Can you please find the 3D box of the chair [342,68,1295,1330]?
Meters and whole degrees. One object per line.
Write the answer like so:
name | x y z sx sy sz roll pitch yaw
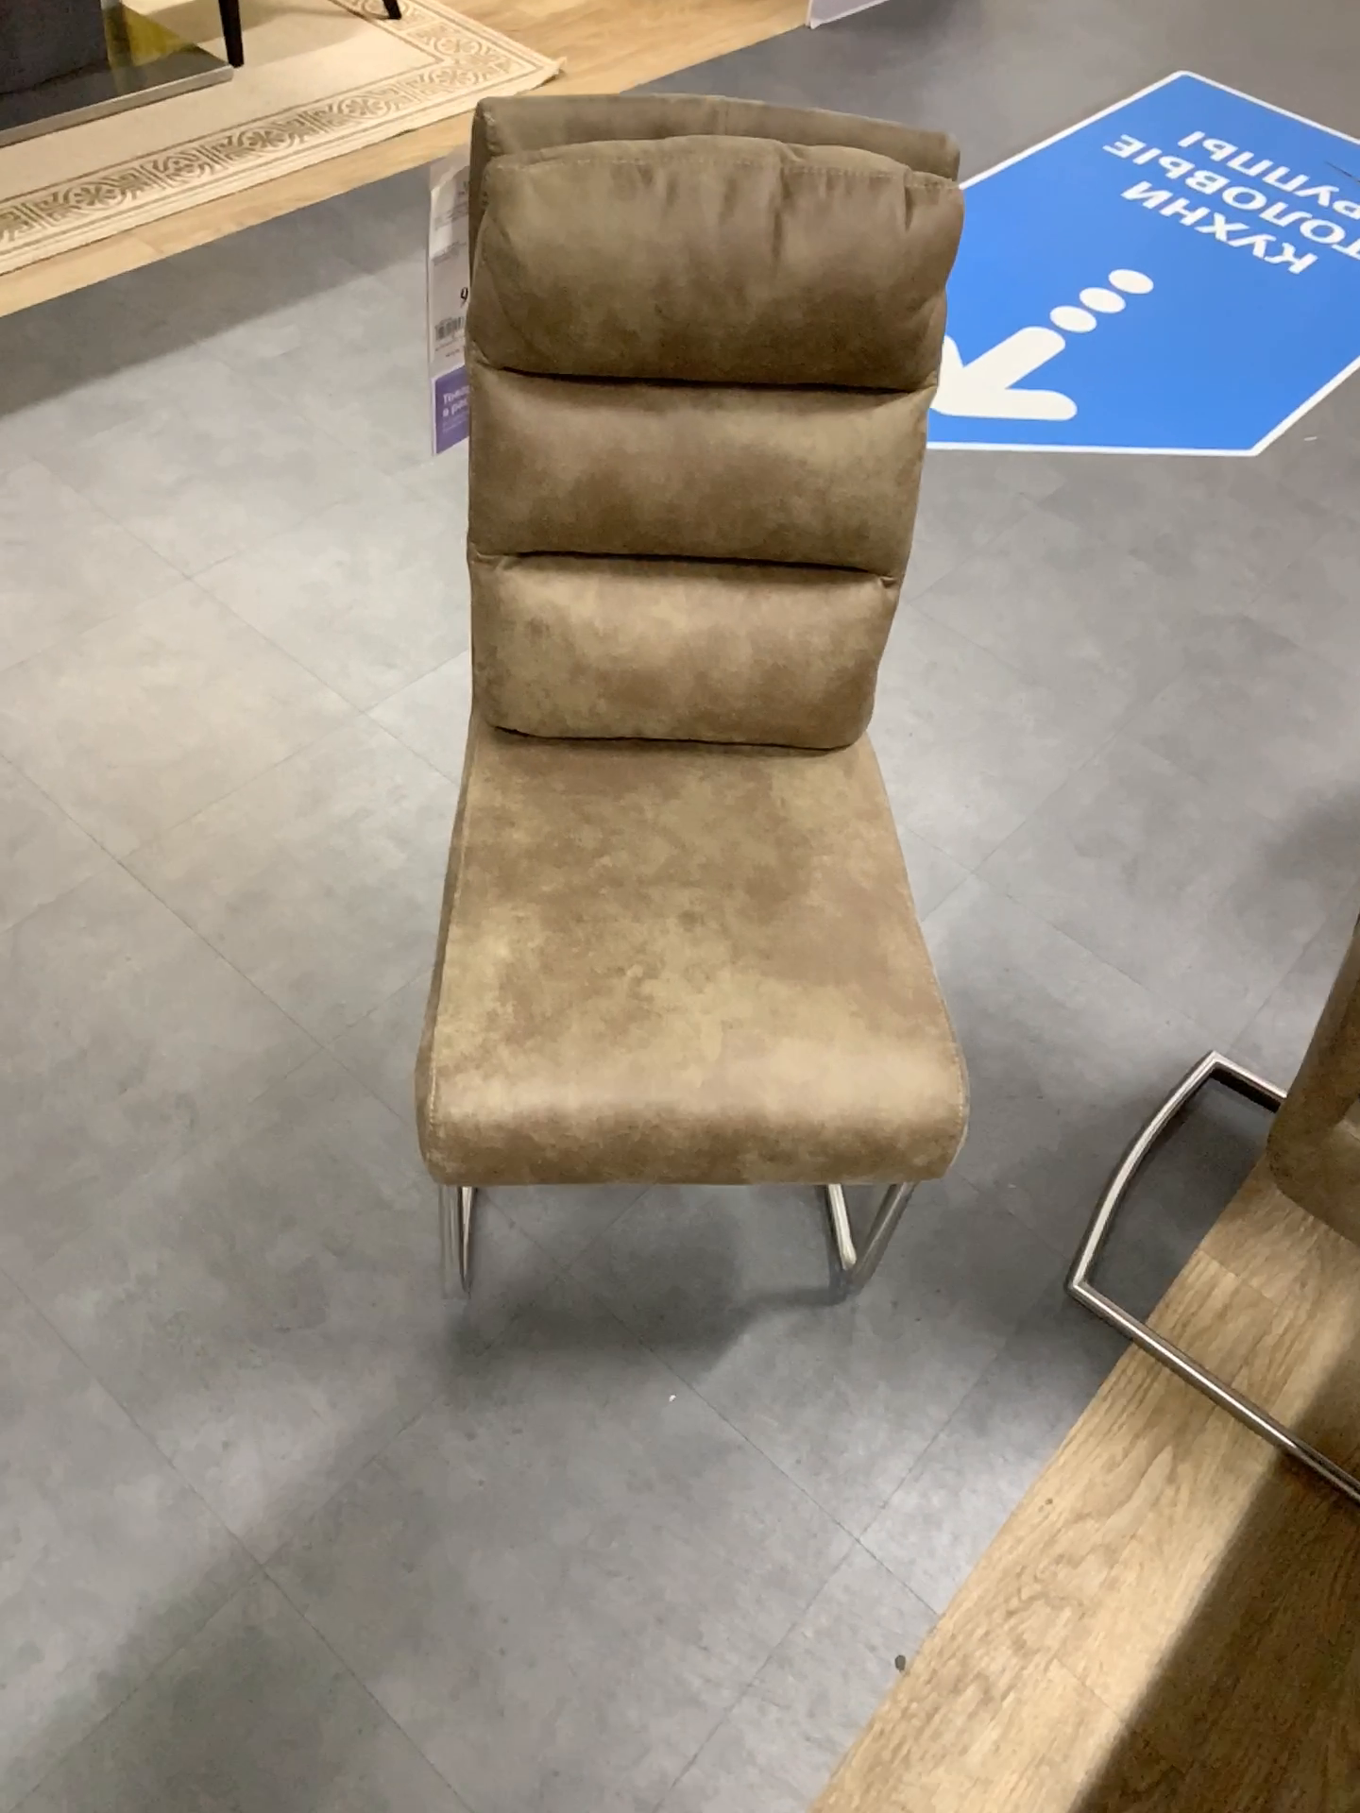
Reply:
chair | 0.018 -0.093 1.291 0.500 0.995 0.603 1 52 -6
